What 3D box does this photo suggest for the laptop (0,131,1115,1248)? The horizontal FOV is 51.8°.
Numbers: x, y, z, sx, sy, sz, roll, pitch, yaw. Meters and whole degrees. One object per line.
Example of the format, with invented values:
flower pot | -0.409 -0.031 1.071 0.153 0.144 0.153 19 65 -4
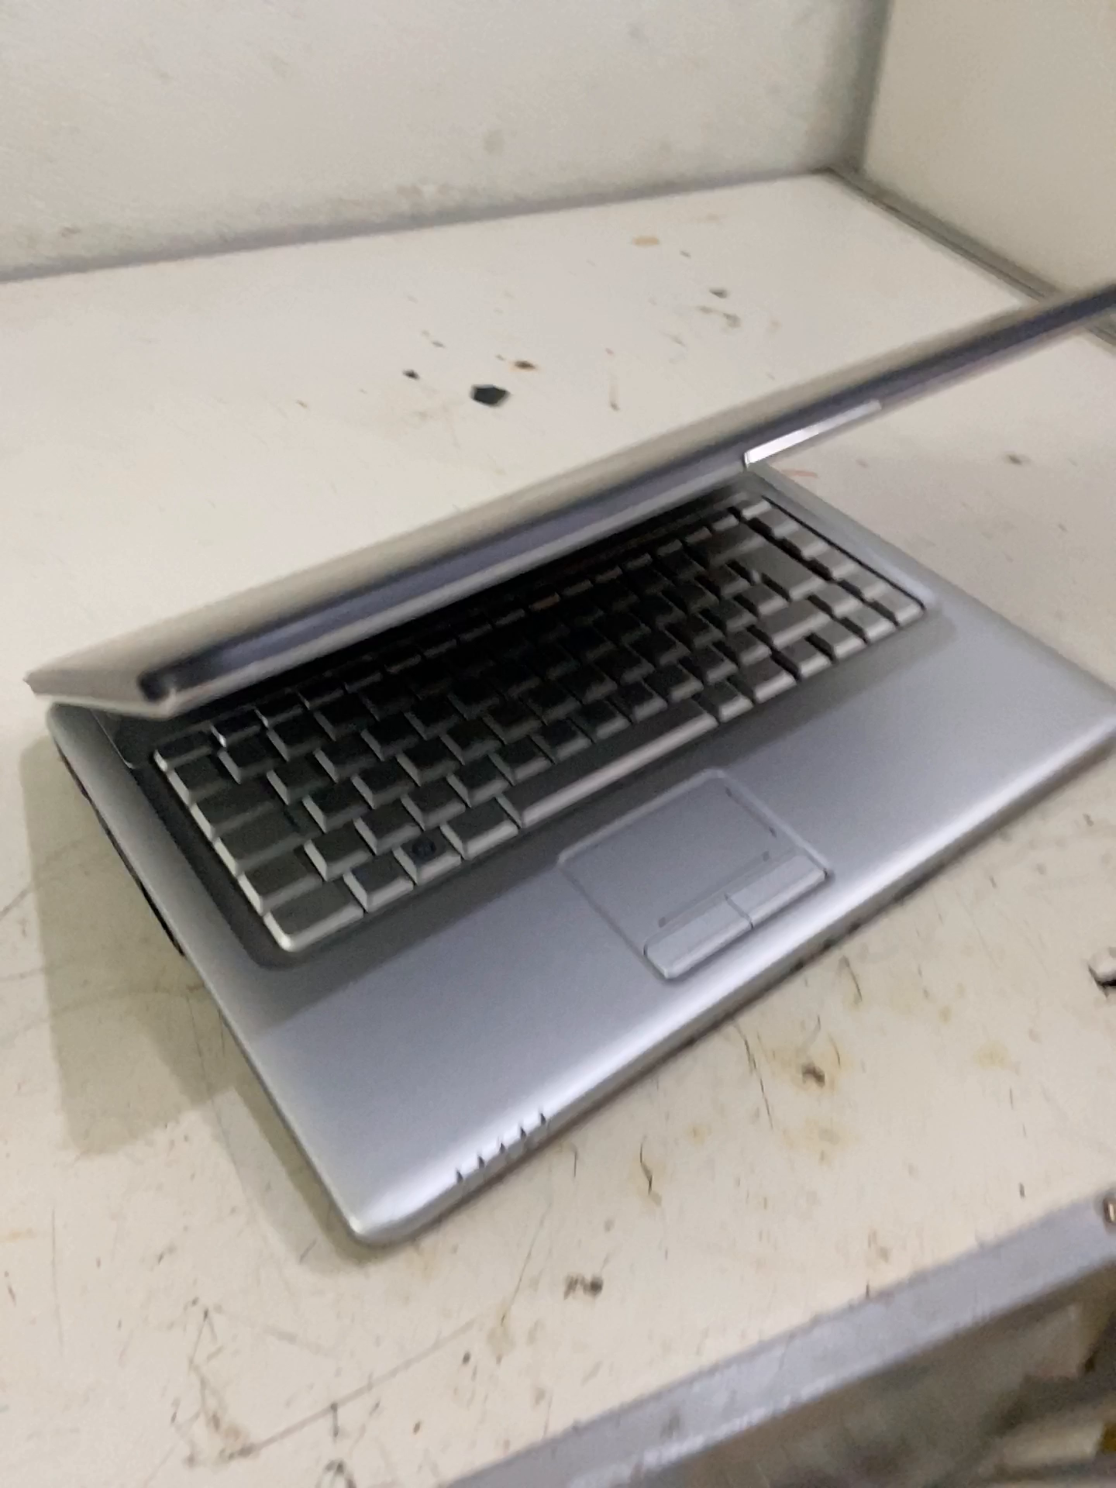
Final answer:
laptop | 0.020 -0.065 0.388 0.348 0.145 0.238 -27 51 -27
